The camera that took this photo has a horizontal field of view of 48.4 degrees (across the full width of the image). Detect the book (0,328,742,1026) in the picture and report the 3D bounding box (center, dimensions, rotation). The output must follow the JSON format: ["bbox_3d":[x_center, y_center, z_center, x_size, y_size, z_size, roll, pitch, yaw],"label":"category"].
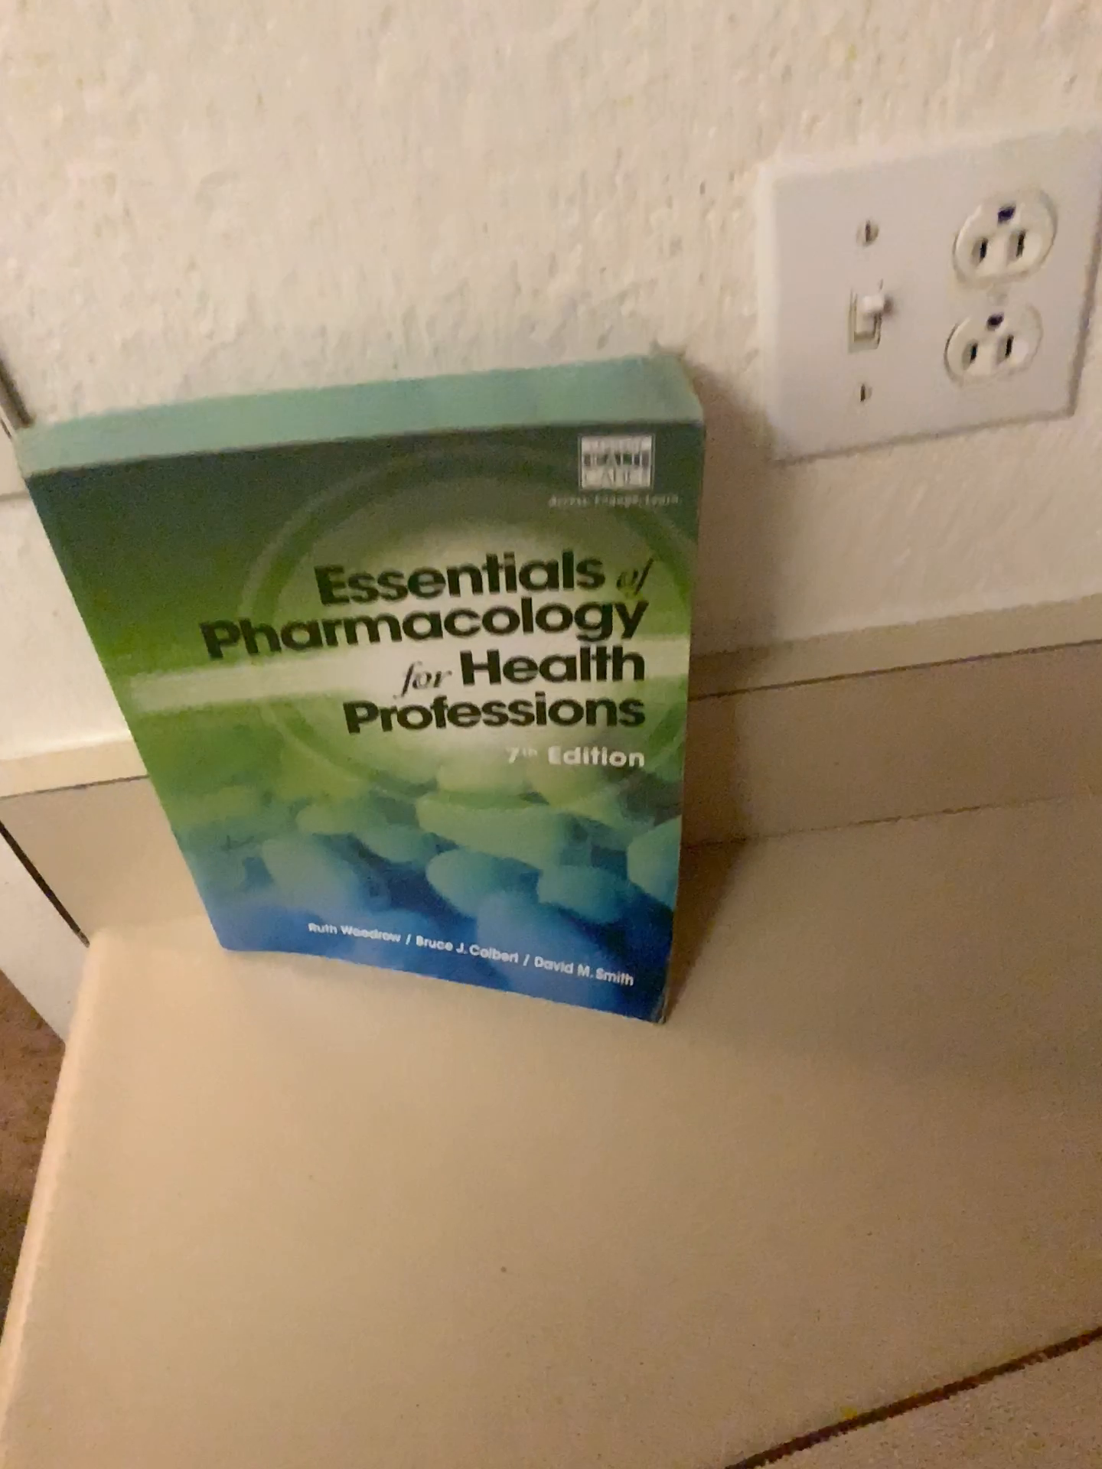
[{"bbox_3d":[-0.053,0.000,0.469,0.240,0.270,0.090,-2,46,5],"label":"book"}]
